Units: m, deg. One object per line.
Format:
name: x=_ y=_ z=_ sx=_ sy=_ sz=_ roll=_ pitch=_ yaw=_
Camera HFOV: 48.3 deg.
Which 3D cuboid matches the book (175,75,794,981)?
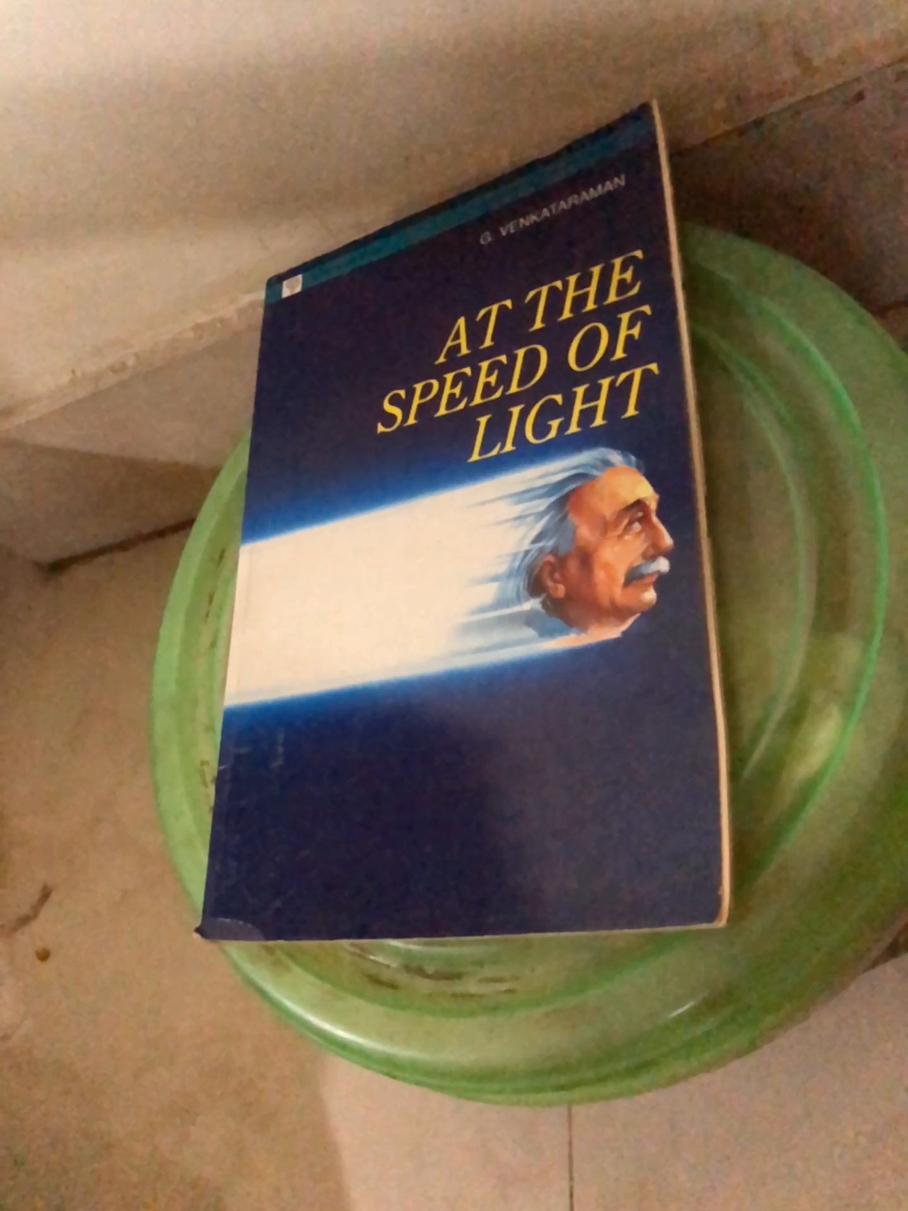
book: x=-0.001 y=-0.023 z=0.277 sx=0.150 sy=0.020 sz=0.230 roll=-14 pitch=62 yaw=28
